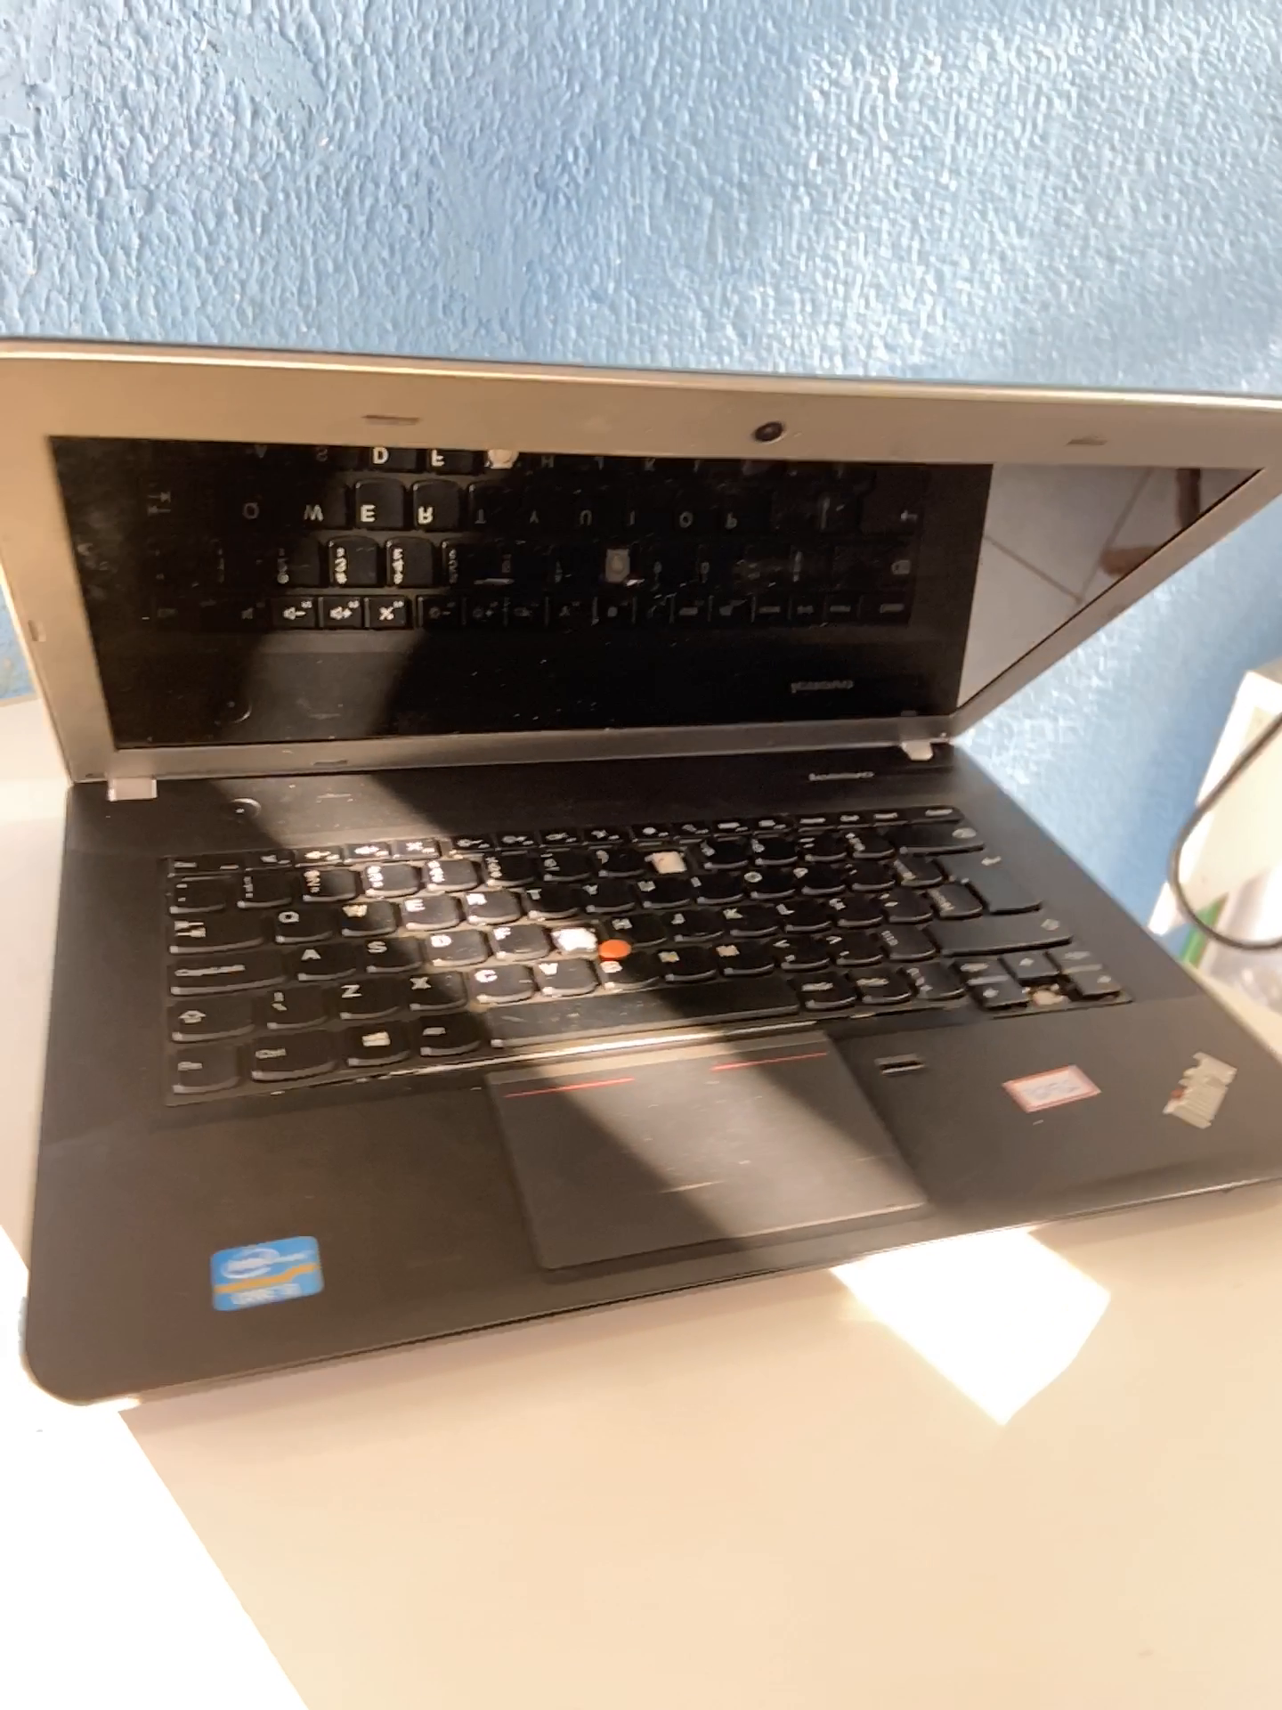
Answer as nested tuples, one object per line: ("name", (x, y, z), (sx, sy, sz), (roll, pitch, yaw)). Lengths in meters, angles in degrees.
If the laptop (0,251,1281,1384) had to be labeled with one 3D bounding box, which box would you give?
("laptop", (0.013, -0.043, 0.359), (0.331, 0.165, 0.231), (-4, 33, -18))
